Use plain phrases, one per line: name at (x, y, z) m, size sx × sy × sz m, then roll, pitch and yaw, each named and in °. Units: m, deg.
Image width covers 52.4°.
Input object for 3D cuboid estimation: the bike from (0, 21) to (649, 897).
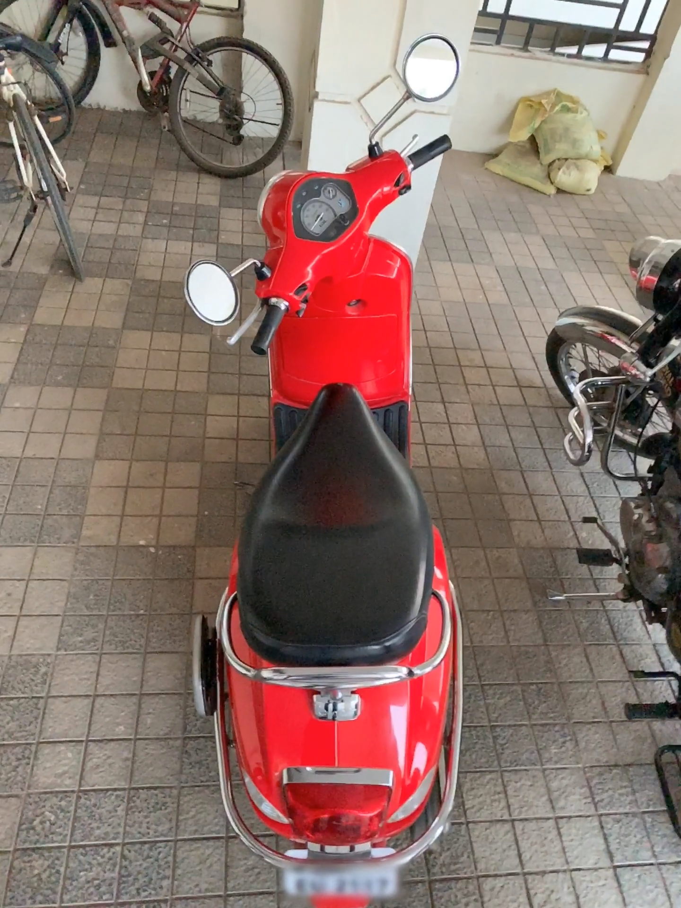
bike at (-0.230, 0.010, 1.639) m, size 0.681 × 1.264 × 1.552 m, roll -1°, pitch 48°, yaw -12°
